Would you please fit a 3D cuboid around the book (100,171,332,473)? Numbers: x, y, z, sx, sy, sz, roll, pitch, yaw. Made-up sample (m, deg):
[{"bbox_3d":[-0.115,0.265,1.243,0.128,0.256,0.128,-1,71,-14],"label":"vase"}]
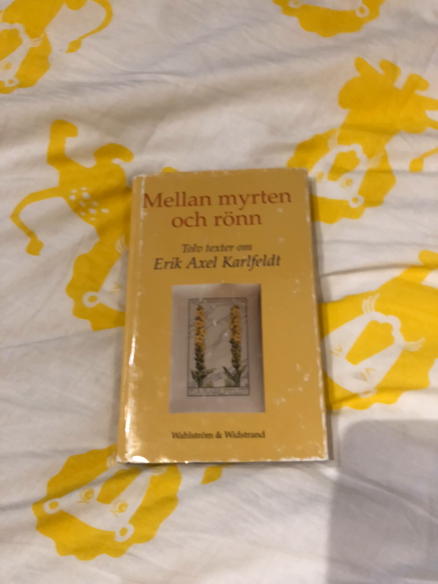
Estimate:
[{"bbox_3d":[-0.001,0.014,0.352,0.141,0.030,0.215,-1,69,3],"label":"book"}]
